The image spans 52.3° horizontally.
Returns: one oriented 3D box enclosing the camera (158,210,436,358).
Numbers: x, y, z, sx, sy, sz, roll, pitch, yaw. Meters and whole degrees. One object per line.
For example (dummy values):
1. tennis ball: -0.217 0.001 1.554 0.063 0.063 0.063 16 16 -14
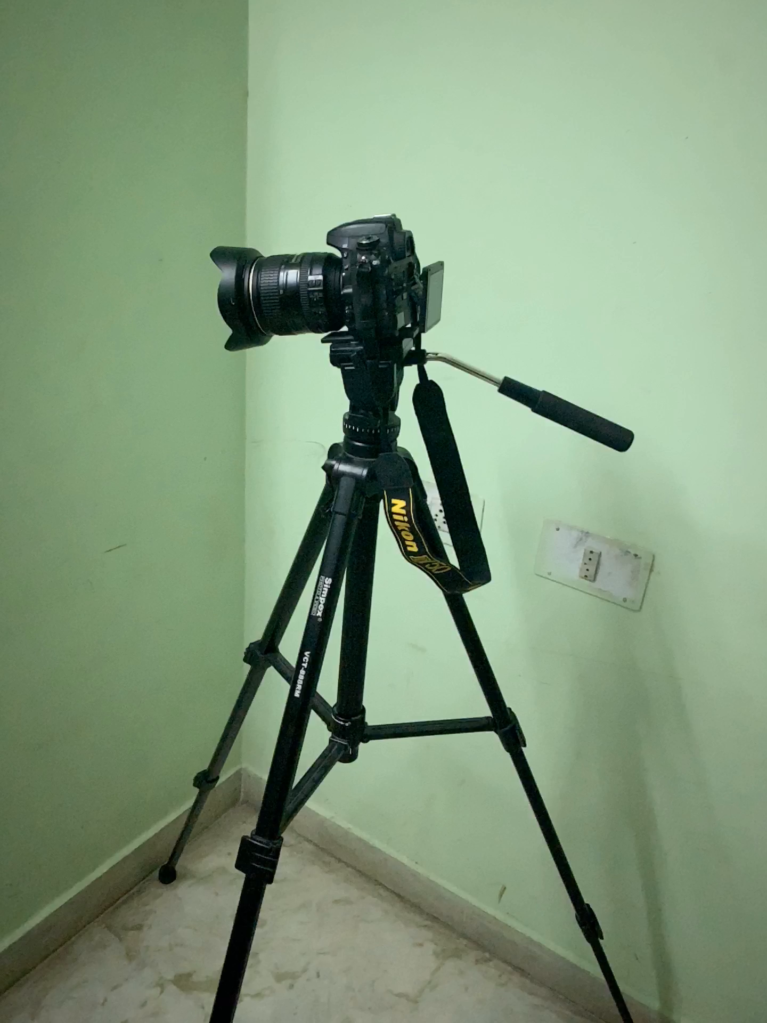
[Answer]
1. camera: -0.080 -0.252 0.856 0.266 0.127 0.161 -2 21 6
